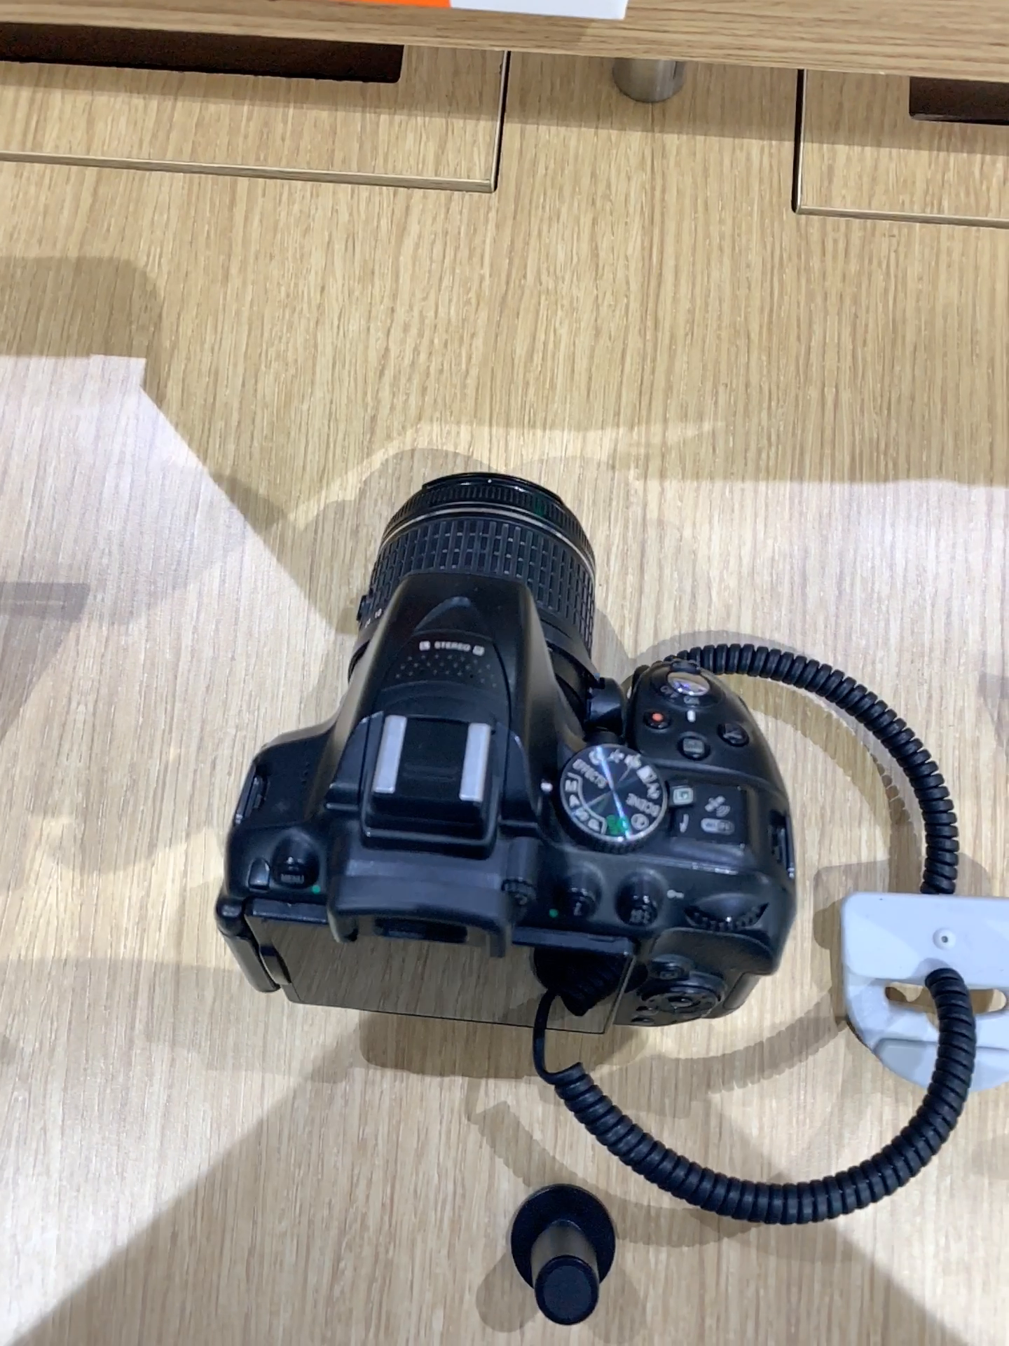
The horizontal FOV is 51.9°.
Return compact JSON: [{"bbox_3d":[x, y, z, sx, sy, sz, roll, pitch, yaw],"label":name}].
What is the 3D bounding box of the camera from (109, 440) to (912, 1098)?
[{"bbox_3d":[0.004,0.022,0.230,0.130,0.080,0.110,5,57,2],"label":"camera"}]
